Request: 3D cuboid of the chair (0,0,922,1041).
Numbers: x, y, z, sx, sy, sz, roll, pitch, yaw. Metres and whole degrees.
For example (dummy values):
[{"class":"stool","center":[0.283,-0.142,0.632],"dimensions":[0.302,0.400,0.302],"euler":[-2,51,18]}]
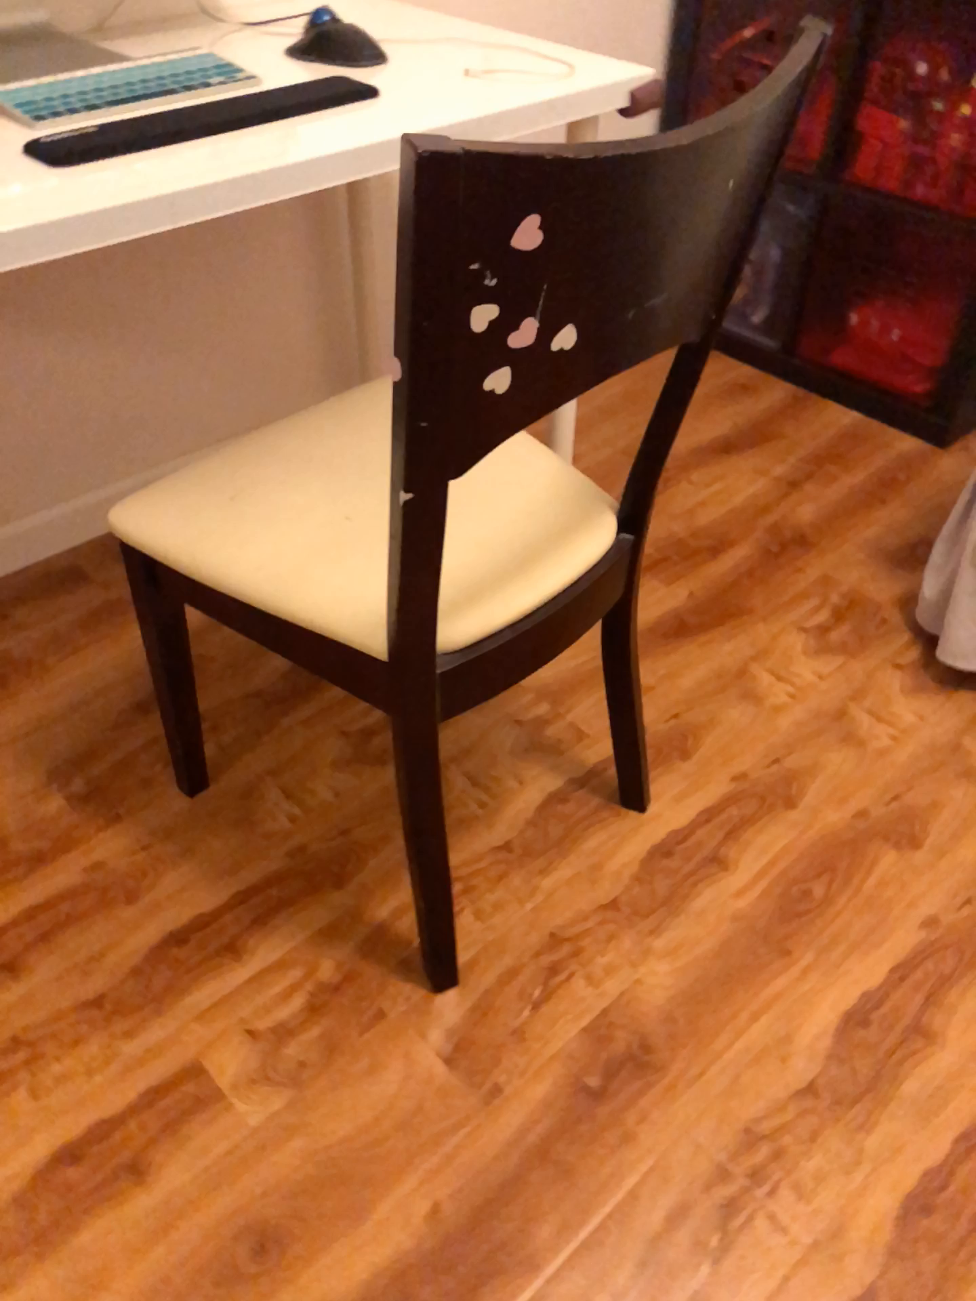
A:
[{"class":"chair","center":[-0.054,-0.169,1.071],"dimensions":[0.511,0.845,0.532],"euler":[32,49,28]}]
